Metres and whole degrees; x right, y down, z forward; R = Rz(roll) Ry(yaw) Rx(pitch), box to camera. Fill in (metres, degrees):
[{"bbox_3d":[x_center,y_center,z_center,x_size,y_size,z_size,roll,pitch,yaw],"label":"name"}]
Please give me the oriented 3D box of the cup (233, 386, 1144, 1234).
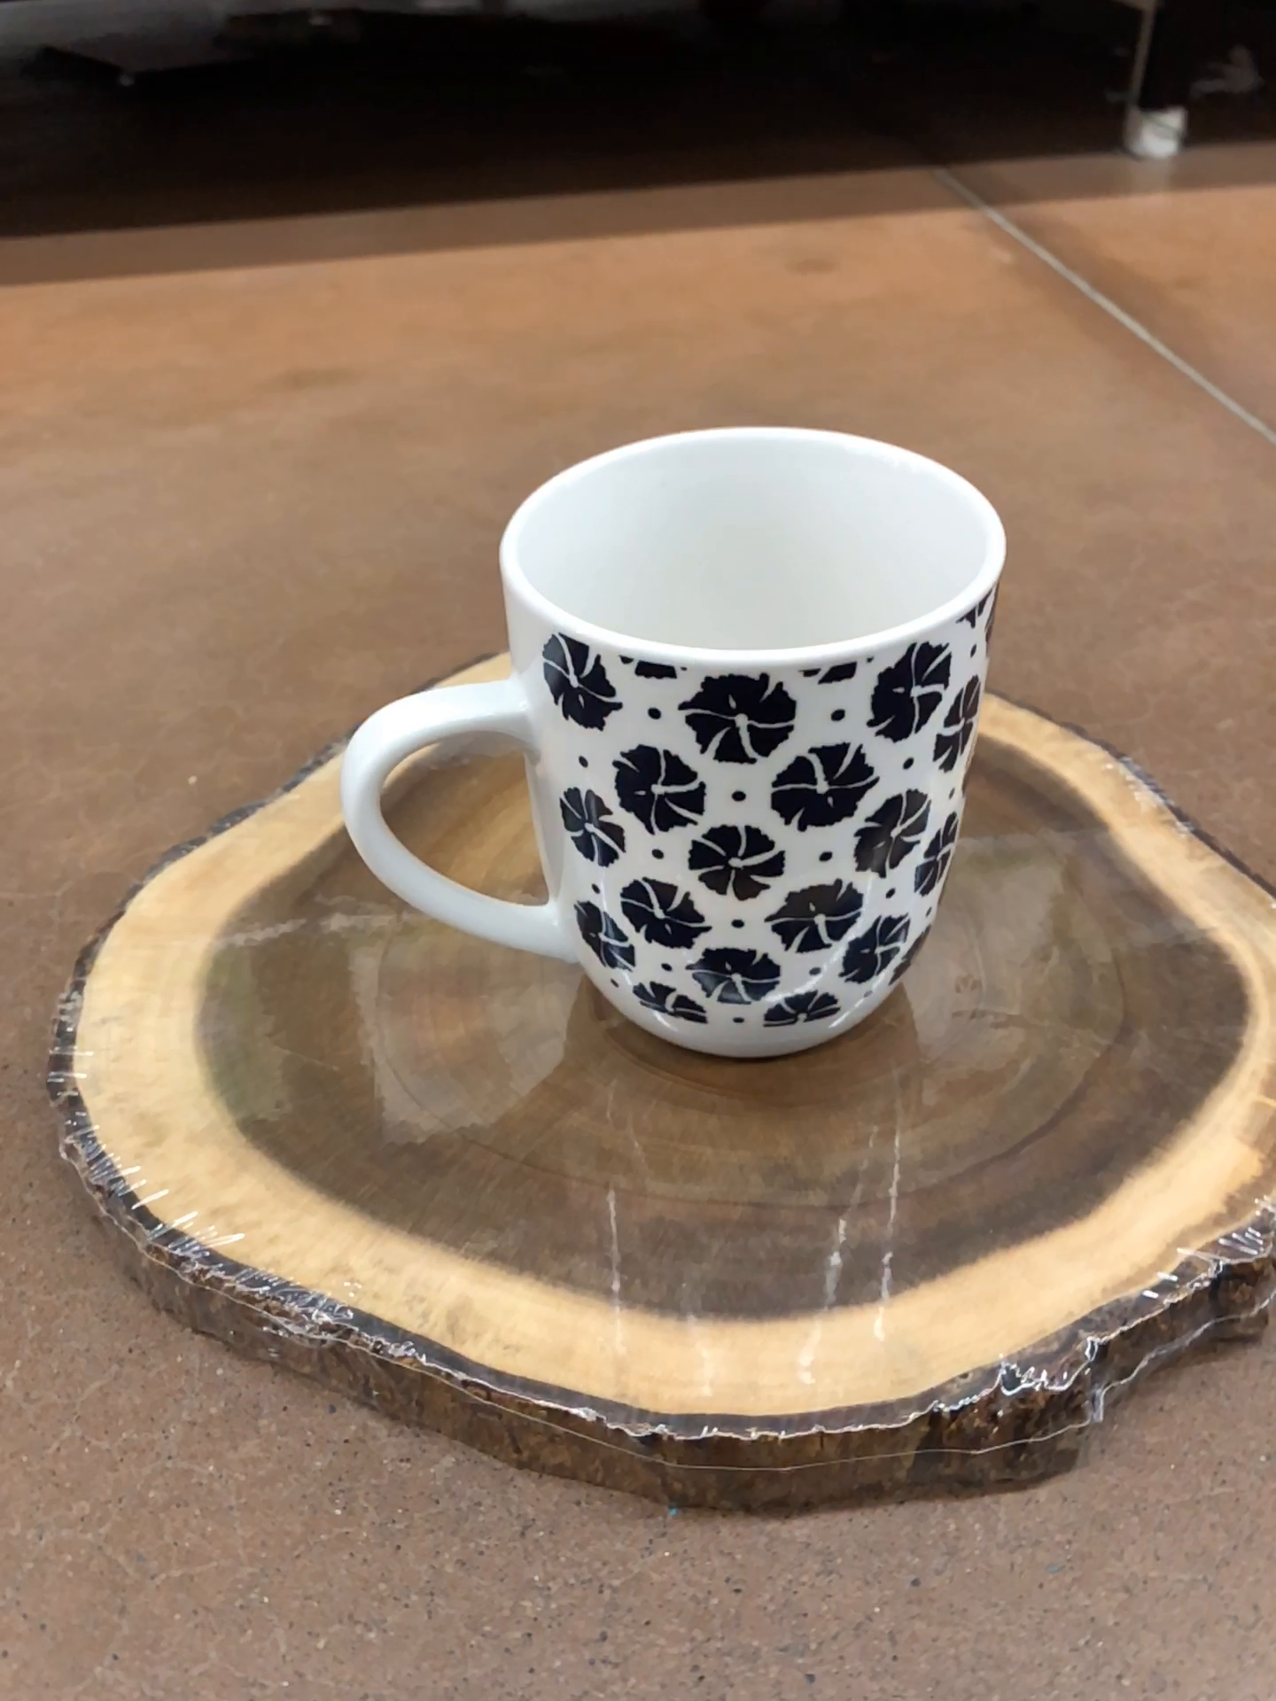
[{"bbox_3d":[0.007,-0.015,0.277,0.130,0.100,0.090,-18,40,-19],"label":"cup"}]
